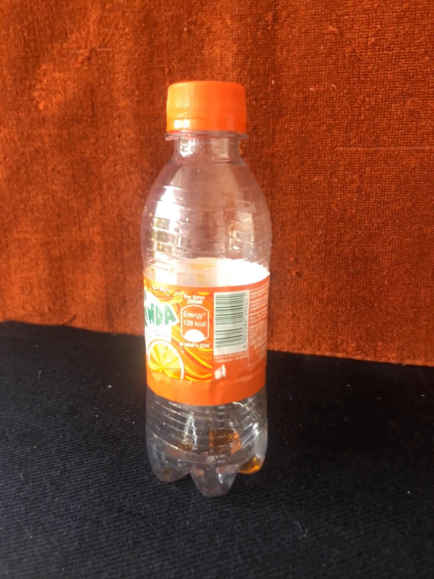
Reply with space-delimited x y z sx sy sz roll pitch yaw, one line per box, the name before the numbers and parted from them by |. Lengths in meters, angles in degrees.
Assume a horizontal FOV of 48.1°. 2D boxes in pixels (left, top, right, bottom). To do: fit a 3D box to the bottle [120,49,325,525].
bottle | -0.003 -0.001 0.191 0.050 0.159 0.060 -7 19 -23
